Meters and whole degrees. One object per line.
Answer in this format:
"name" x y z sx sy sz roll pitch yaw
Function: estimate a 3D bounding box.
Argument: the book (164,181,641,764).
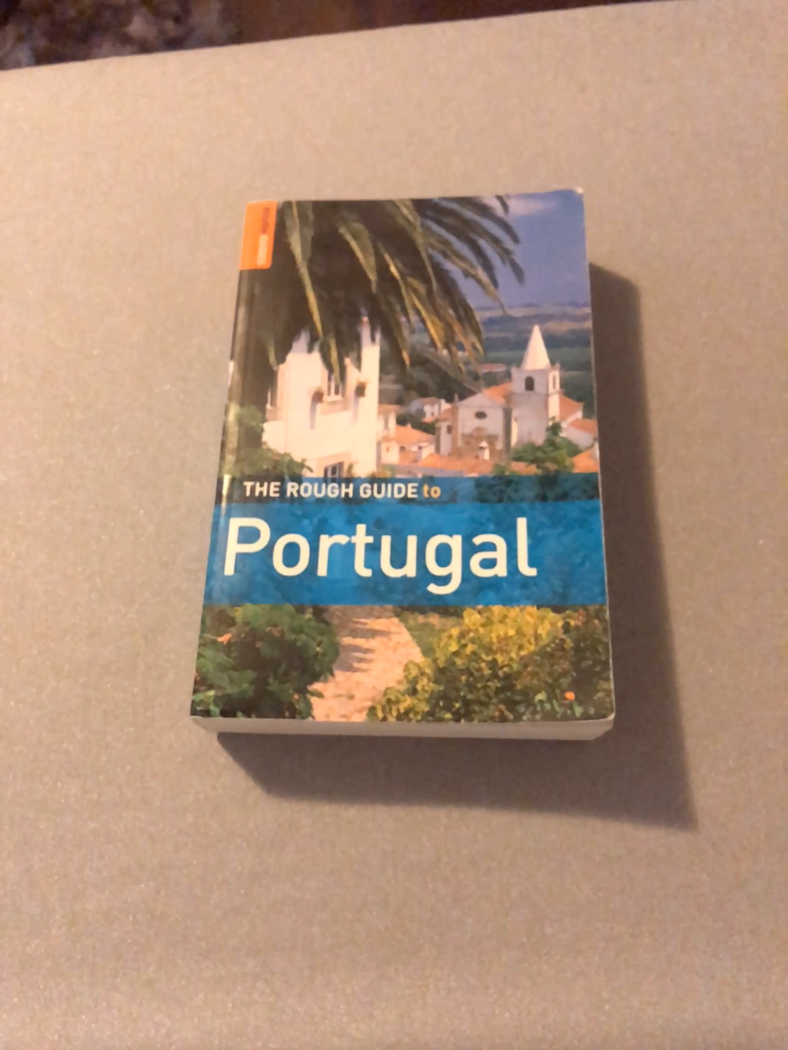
"book" 0.006 -0.025 0.313 0.139 0.040 0.204 0 68 5
